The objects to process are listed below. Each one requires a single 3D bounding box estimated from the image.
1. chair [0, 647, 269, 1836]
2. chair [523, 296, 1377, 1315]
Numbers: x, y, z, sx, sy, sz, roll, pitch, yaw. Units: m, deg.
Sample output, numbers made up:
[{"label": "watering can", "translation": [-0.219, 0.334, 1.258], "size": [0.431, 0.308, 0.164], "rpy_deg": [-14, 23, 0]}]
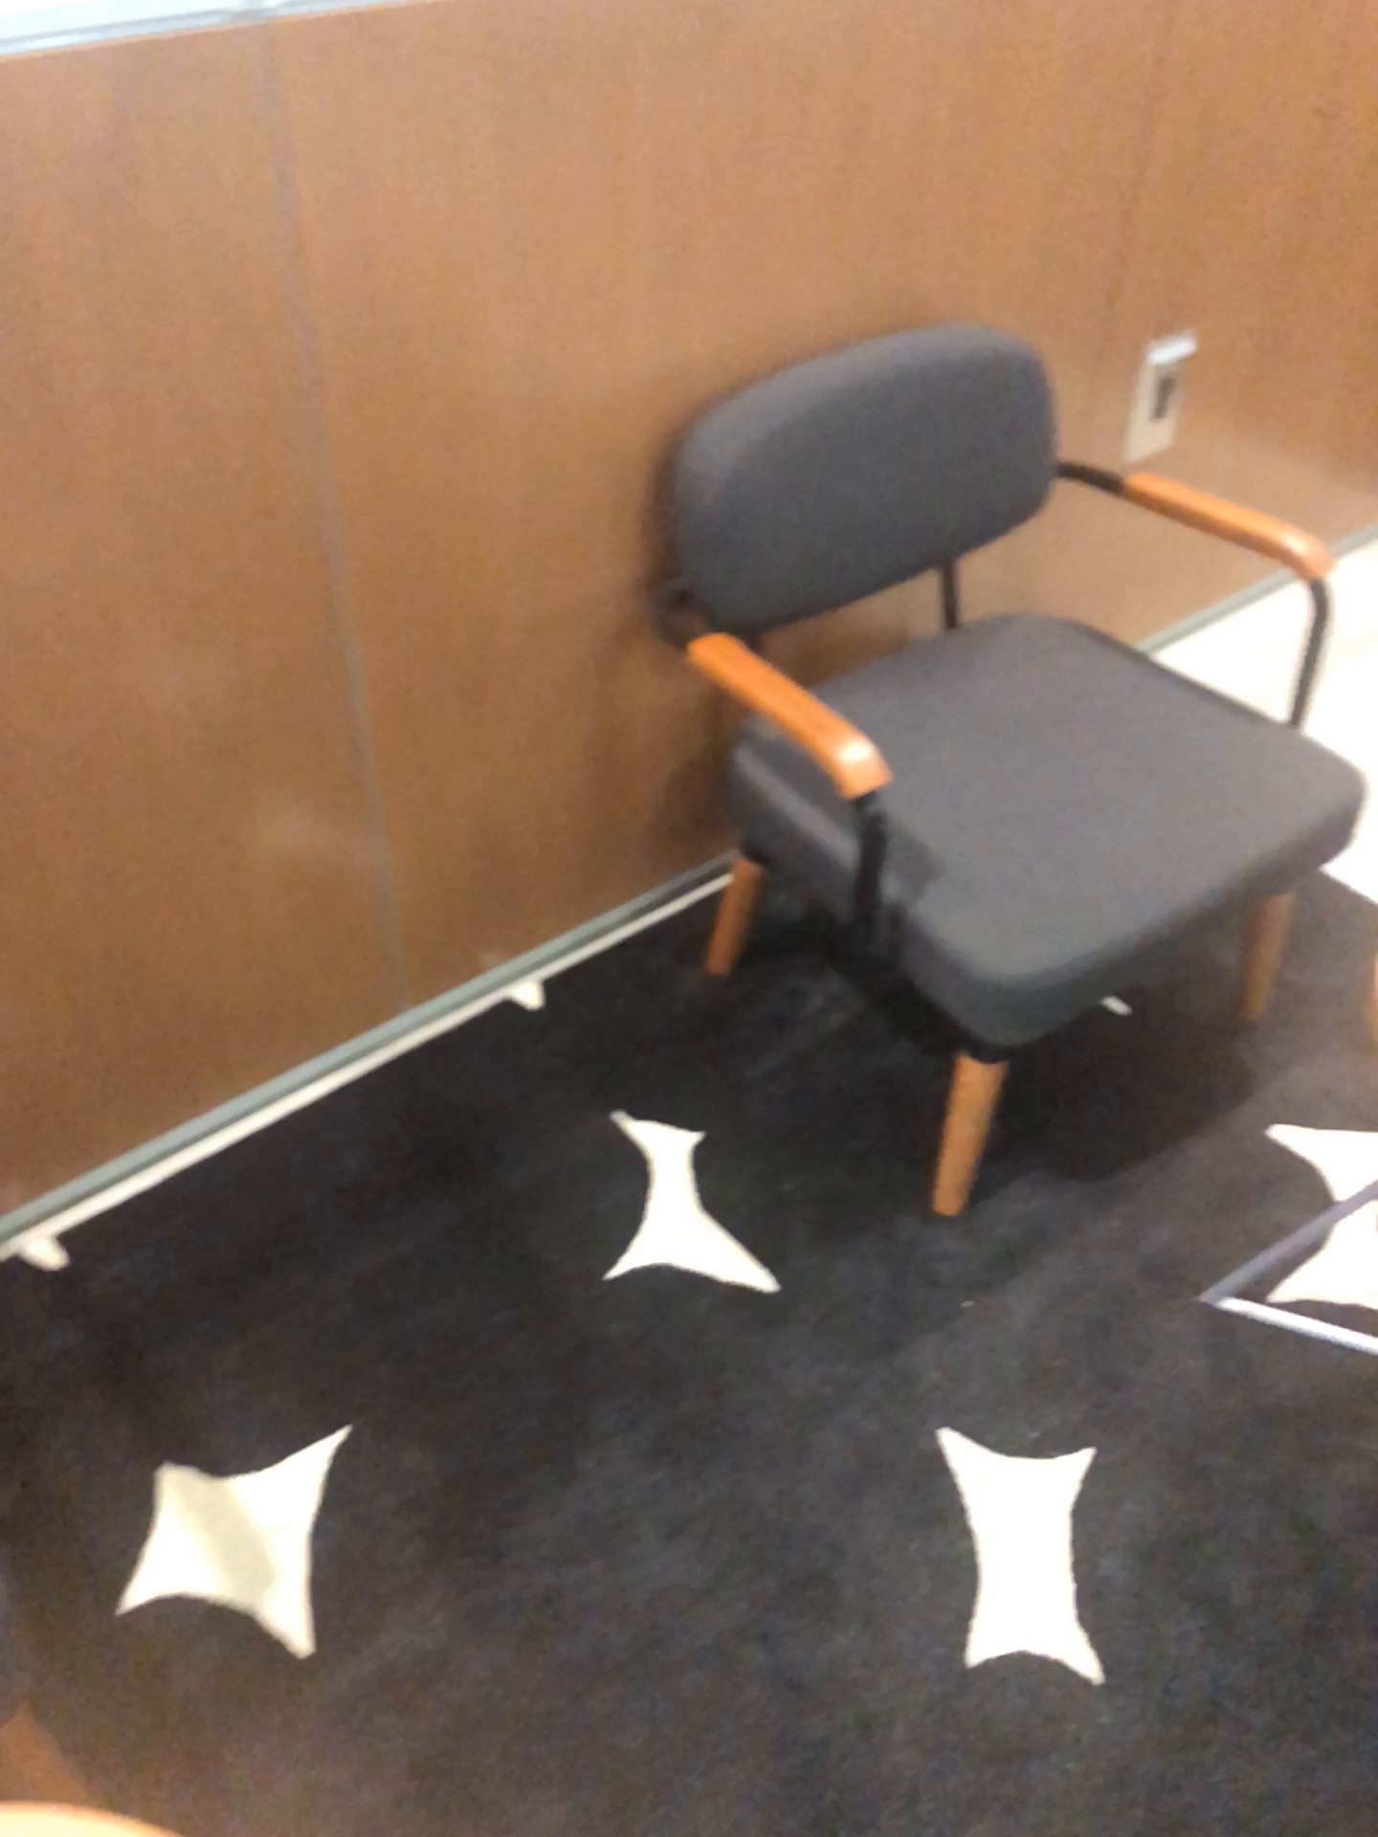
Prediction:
[{"label": "chair", "translation": [-0.779, 0.378, 0.914], "size": [0.734, 0.714, 0.572], "rpy_deg": [-26, 44, -28]}, {"label": "chair", "translation": [0.317, -0.178, 1.709], "size": [0.684, 0.714, 0.682], "rpy_deg": [-26, 44, -28]}]
